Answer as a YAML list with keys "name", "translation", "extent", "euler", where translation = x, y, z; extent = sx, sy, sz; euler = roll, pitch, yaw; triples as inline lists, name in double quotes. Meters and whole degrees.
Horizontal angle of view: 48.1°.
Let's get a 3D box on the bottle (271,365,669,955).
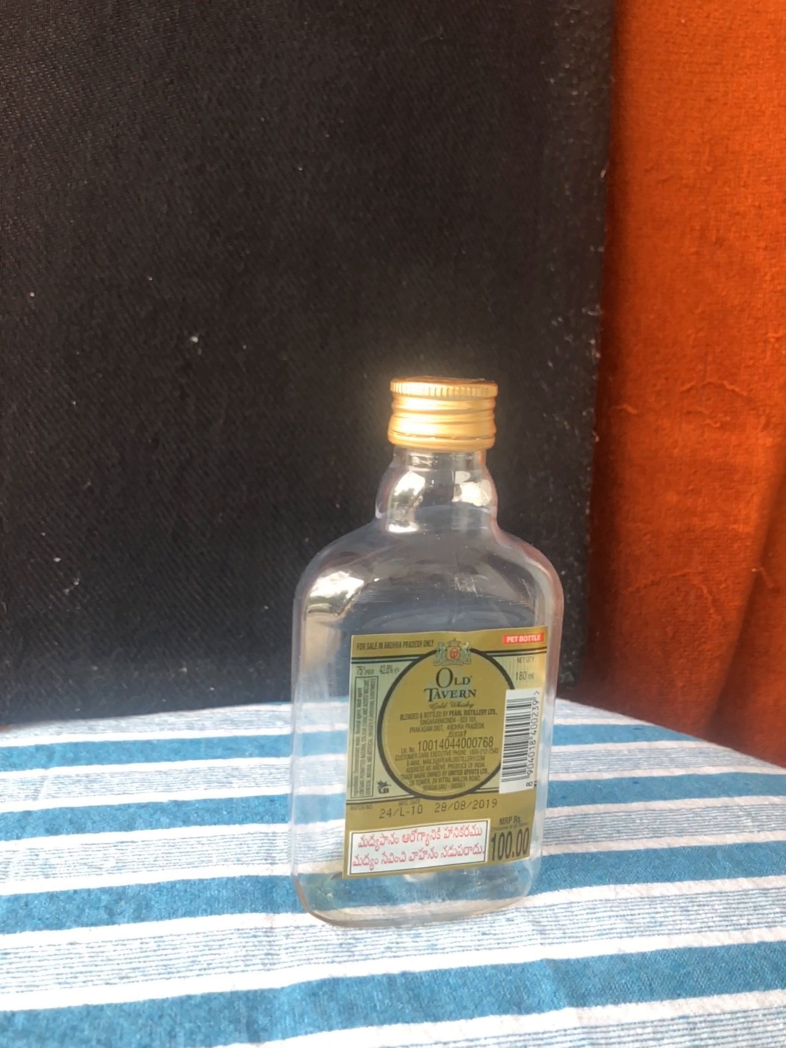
- name: "bottle"
  translation: [0.015, 0.034, 0.229]
  extent: [0.080, 0.140, 0.040]
  euler: [1, 14, -15]
